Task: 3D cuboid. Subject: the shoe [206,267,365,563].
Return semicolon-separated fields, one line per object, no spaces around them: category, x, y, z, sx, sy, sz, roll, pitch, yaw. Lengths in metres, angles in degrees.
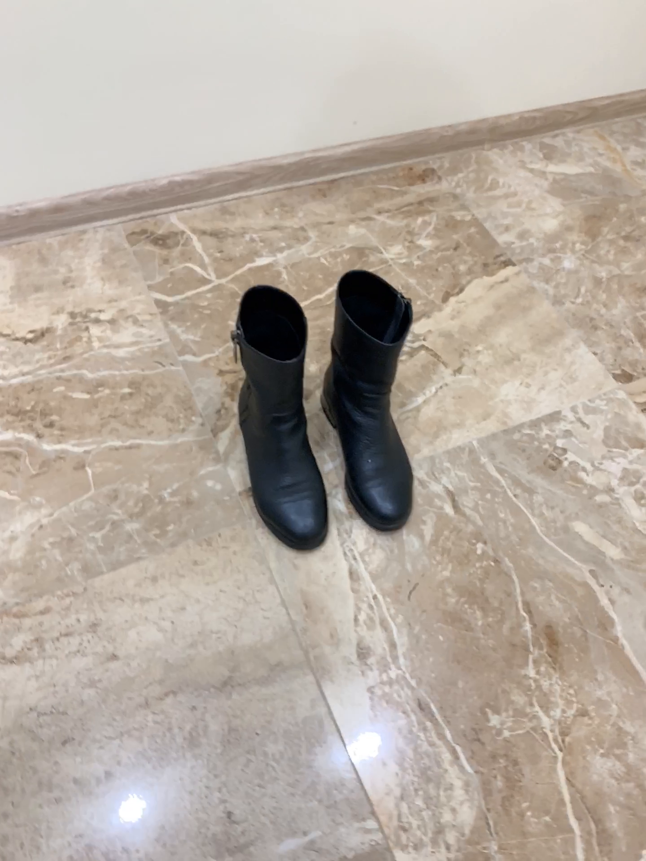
shoe;-0.056;-0.017;0.777;0.090;0.209;0.261;-13;58;-16

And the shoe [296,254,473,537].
shoe;0.057;-0.041;0.814;0.090;0.209;0.261;-13;58;-15
